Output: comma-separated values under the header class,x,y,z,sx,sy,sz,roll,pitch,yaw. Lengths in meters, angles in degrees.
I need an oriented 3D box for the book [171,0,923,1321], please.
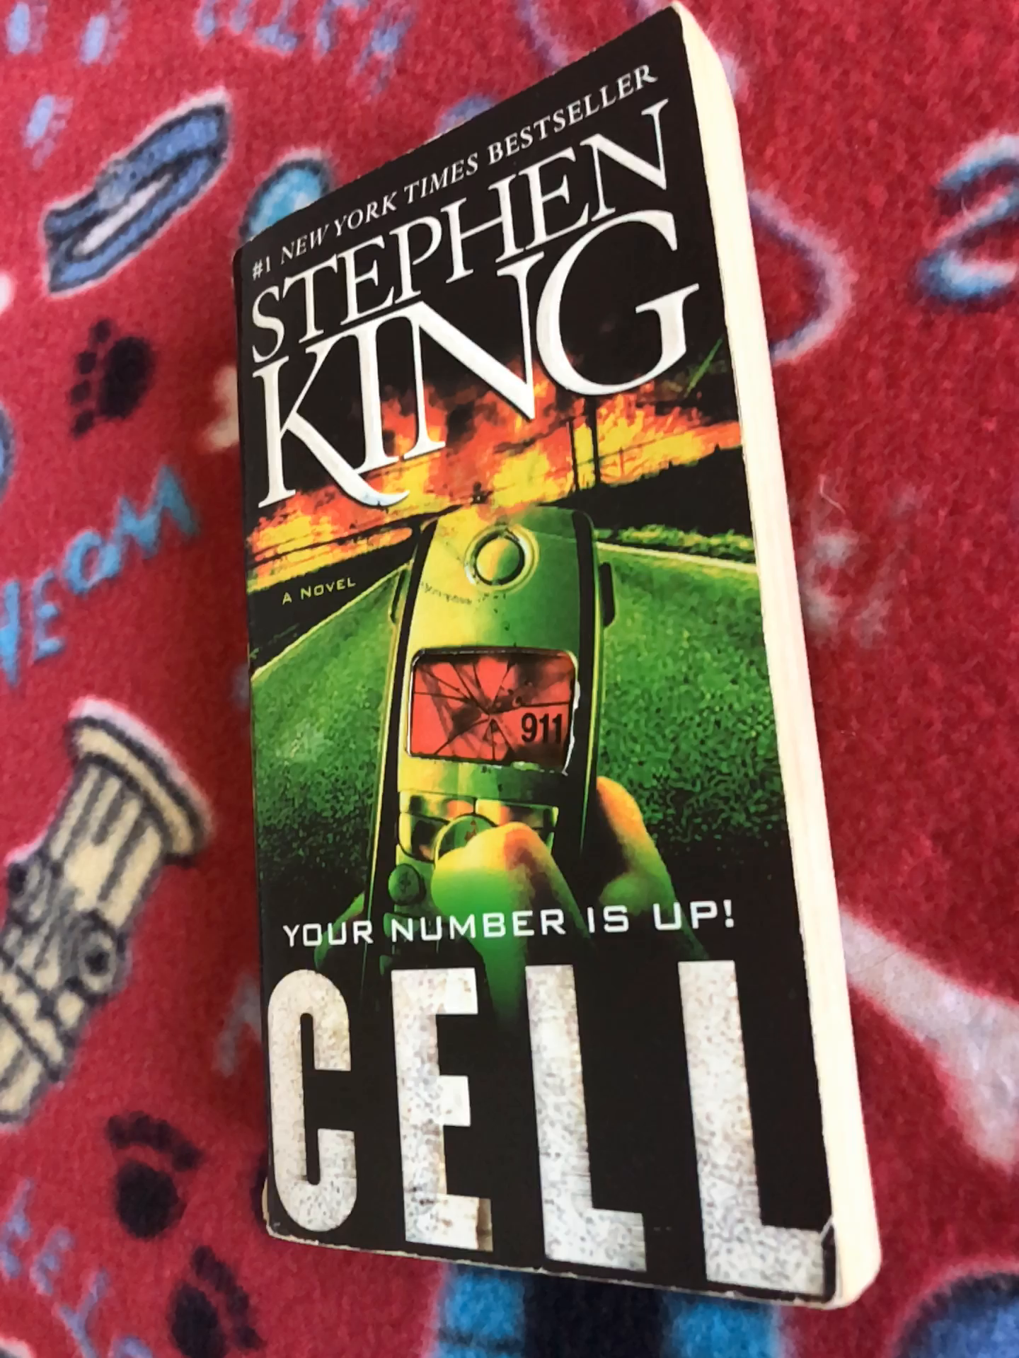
class,x,y,z,sx,sy,sz,roll,pitch,yaw
book,-0.004,-0.006,0.204,0.120,0.030,0.200,-10,79,29
